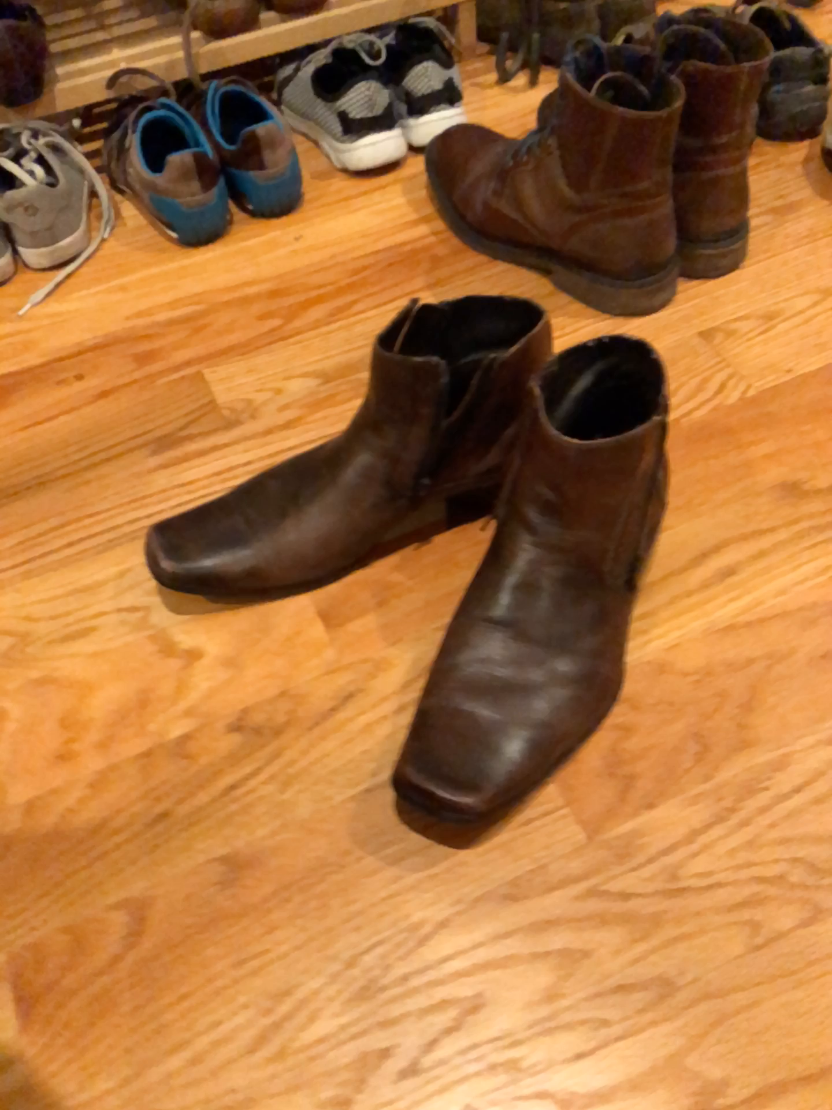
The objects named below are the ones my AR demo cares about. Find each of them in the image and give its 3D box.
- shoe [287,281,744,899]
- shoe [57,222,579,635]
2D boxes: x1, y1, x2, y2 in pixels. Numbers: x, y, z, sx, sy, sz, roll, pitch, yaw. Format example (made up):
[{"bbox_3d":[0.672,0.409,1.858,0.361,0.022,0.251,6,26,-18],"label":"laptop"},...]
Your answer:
[{"bbox_3d":[0.070,0.007,0.517,0.109,0.152,0.301,21,56,21],"label":"shoe"},{"bbox_3d":[-0.053,-0.083,0.596,0.290,0.142,0.109,-22,53,-11],"label":"shoe"}]
